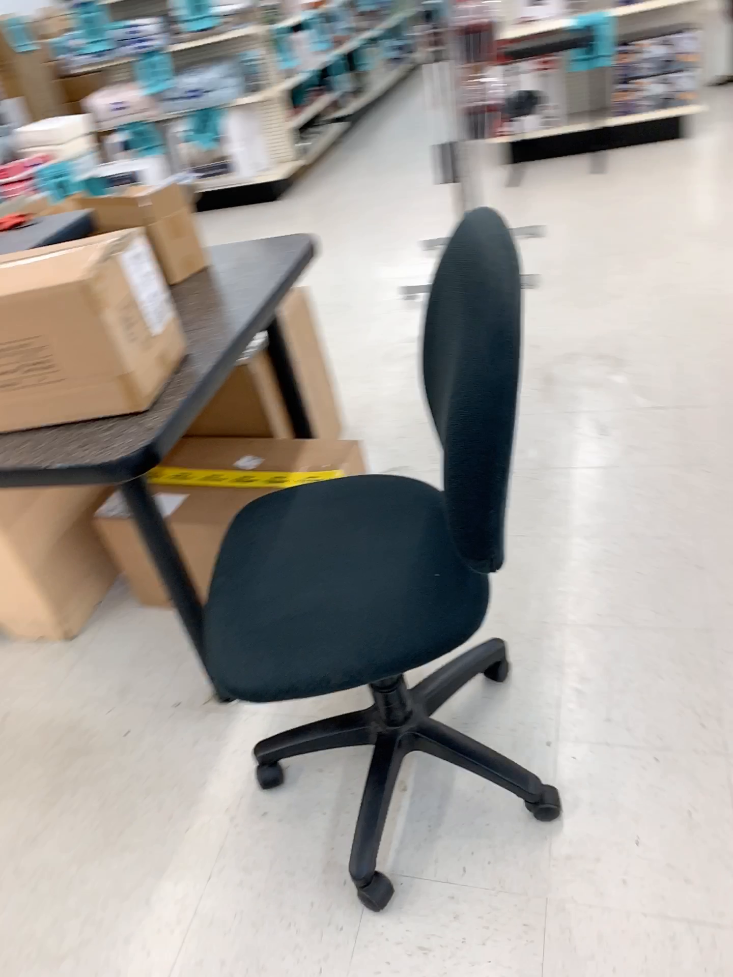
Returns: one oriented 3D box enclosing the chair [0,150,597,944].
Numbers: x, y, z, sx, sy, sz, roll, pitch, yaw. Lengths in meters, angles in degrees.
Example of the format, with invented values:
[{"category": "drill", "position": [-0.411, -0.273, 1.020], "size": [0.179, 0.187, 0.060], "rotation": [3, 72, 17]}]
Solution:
[{"category": "chair", "position": [-0.055, 0.115, 1.153], "size": [0.600, 0.965, 0.603], "rotation": [-12, 35, 4]}]
